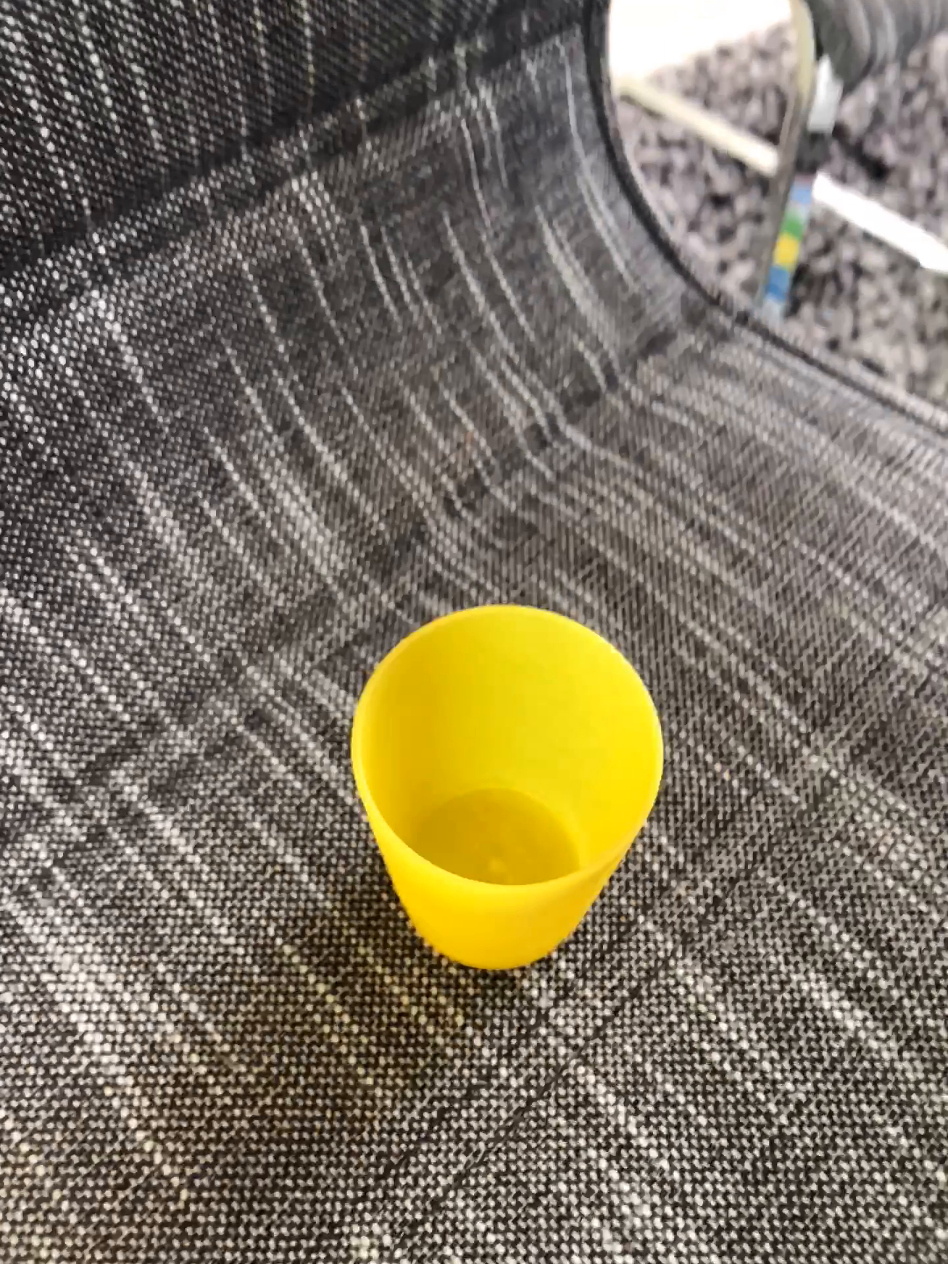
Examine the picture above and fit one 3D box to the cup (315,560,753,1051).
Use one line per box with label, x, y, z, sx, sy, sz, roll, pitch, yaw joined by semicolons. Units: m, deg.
cup;0.011;0.041;0.236;0.060;0.080;0.060;1;59;-2
